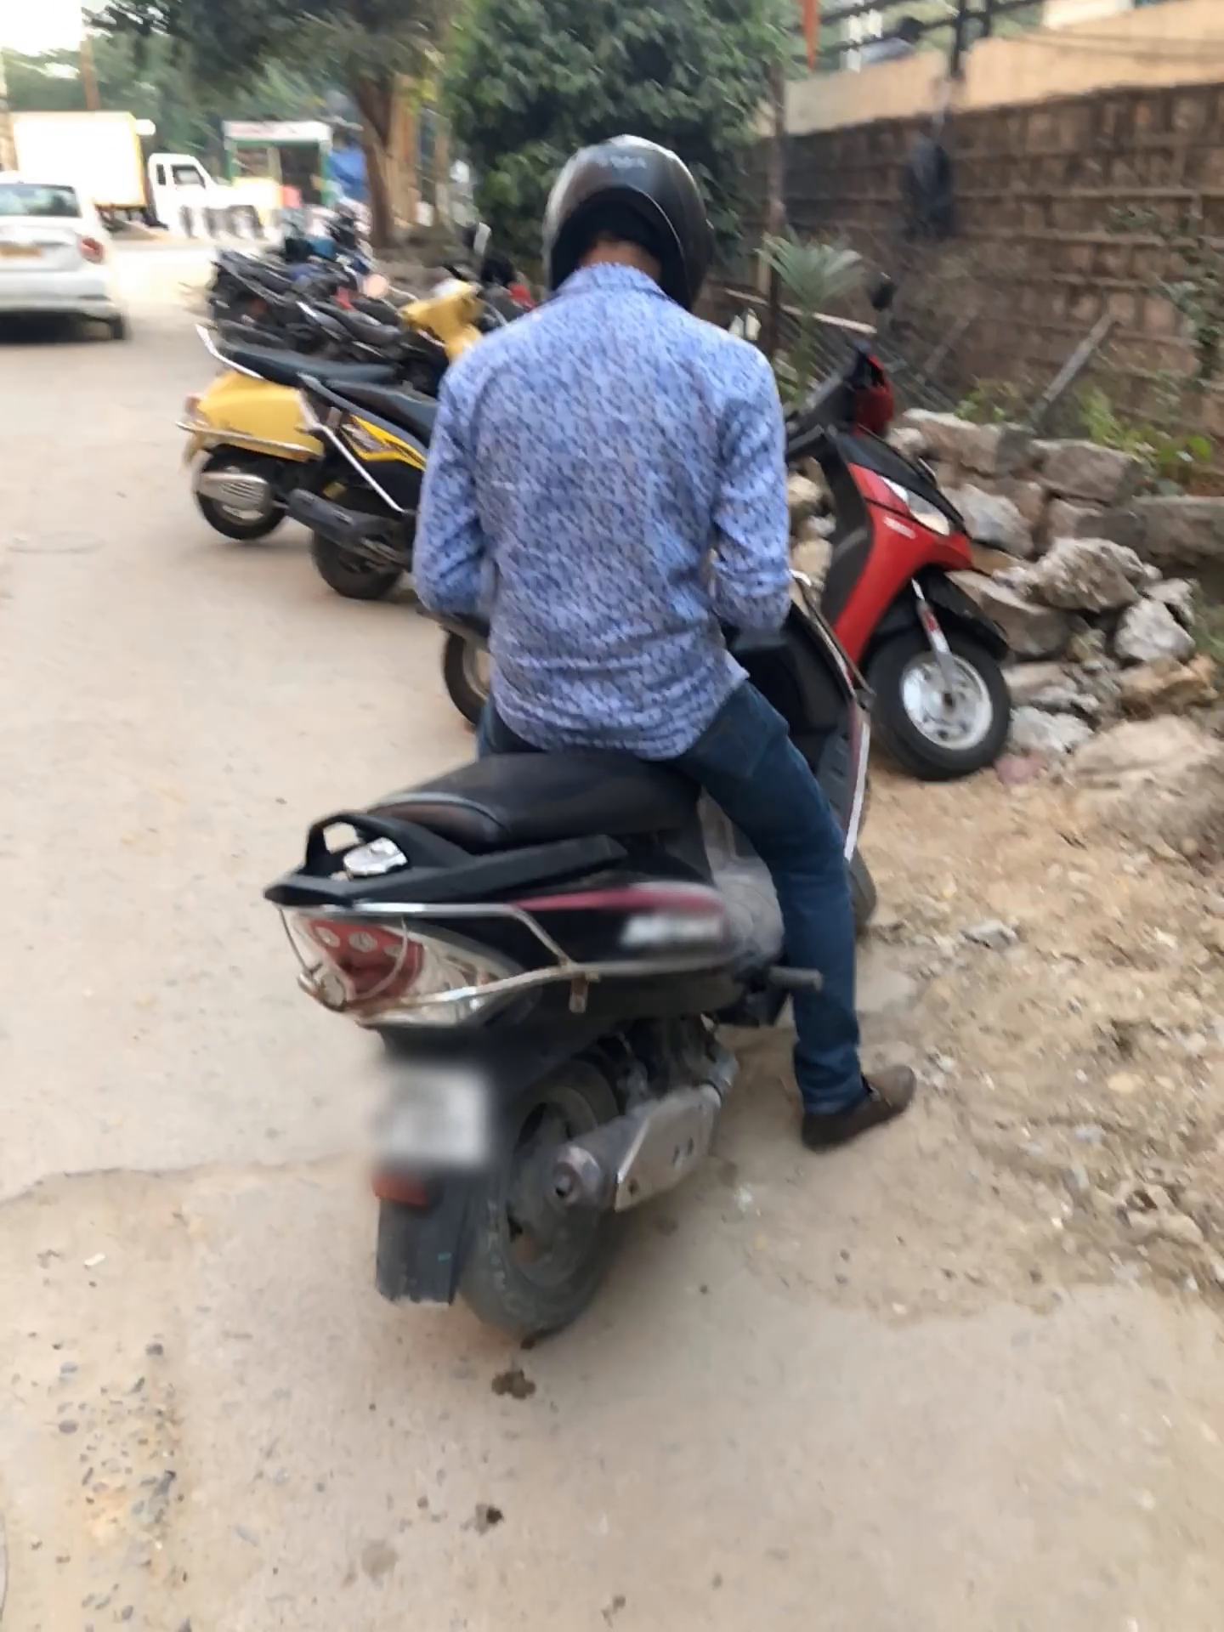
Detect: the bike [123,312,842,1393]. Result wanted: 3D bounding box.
[{"bbox_3d":[-0.069,-0.141,2.243,0.559,1.054,1.482,9,29,18],"label":"bike"}]
